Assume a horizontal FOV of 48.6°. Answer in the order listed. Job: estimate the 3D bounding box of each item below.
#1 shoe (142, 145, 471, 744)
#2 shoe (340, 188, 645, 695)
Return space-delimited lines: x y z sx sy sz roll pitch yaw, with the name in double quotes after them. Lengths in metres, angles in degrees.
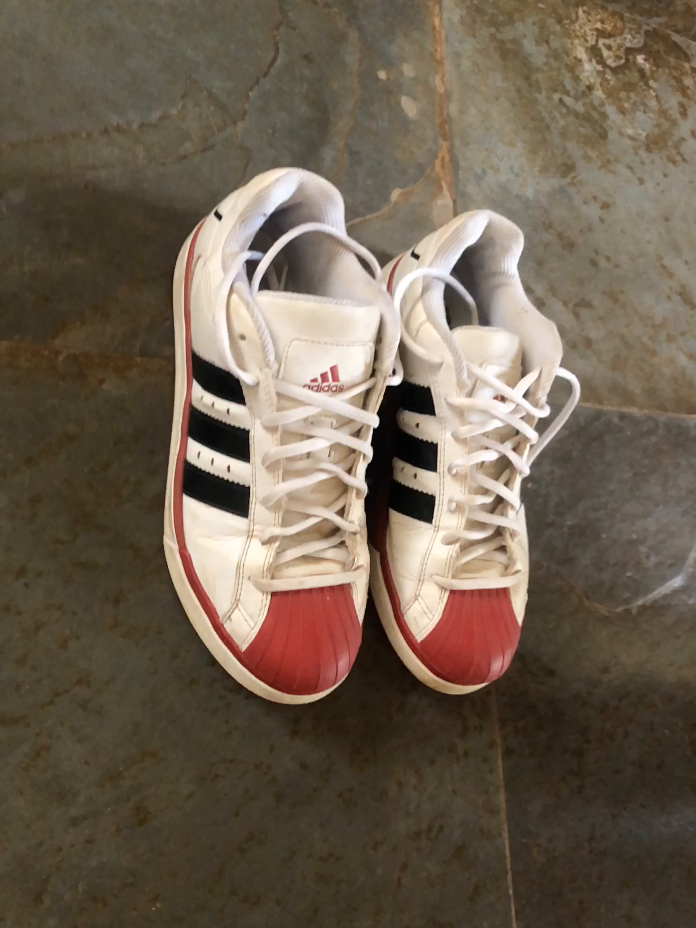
-0.035 -0.005 0.417 0.111 0.129 0.270 -1 77 -26 "shoe"
0.077 -0.007 0.468 0.110 0.109 0.270 2 75 -26 "shoe"
